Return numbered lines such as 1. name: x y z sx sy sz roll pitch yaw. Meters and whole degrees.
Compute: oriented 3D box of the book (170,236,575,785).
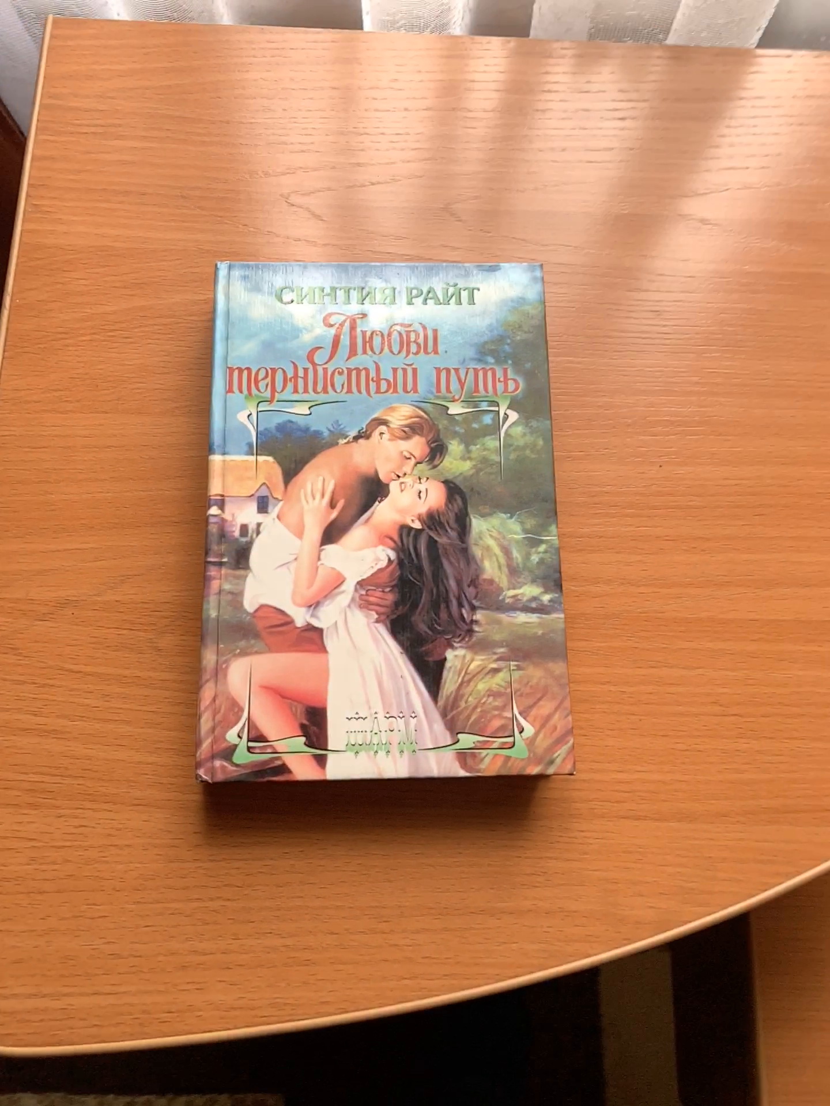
1. book: -0.015 -0.019 0.333 0.140 0.030 0.210 0 77 -3
